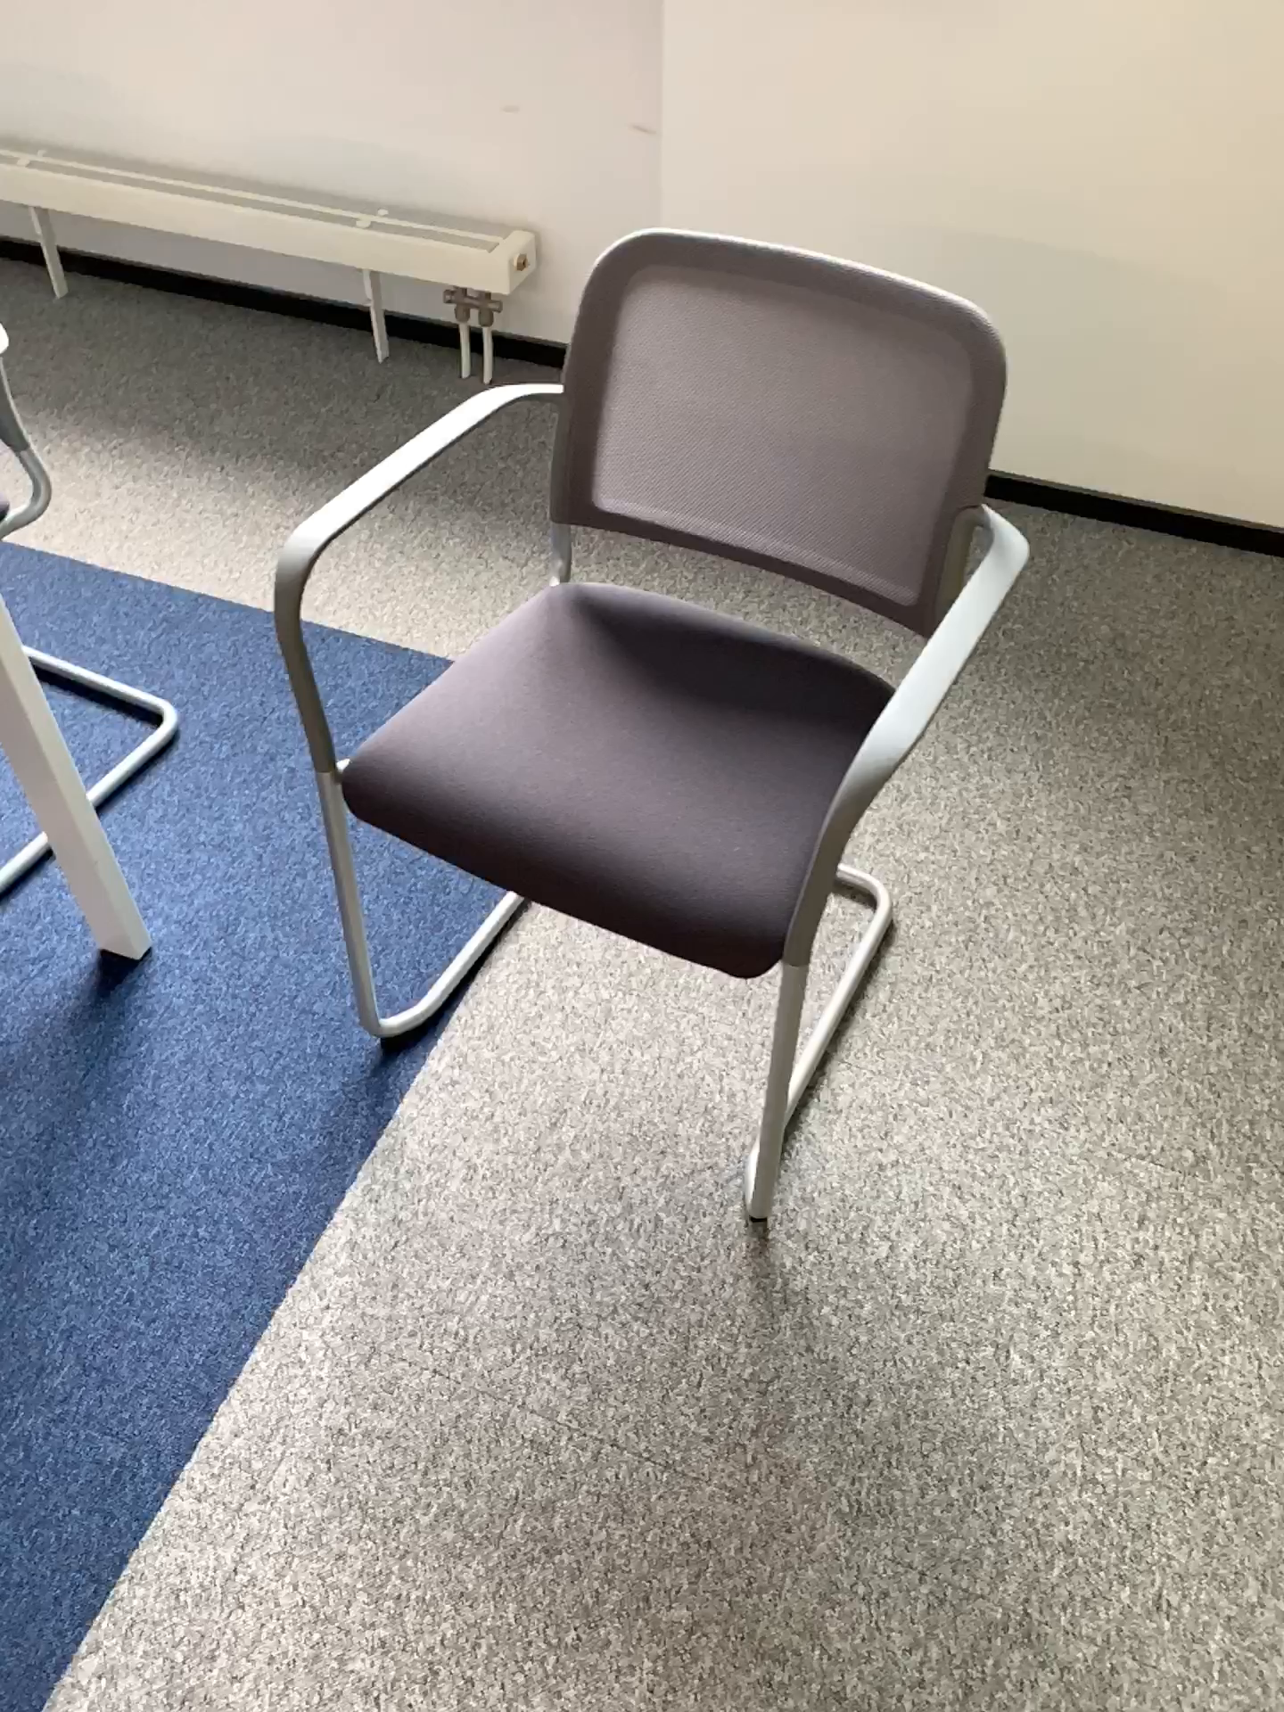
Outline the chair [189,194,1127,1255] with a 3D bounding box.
[{"bbox_3d":[0.034,-0.119,1.265,0.530,0.726,0.522,23,51,19],"label":"chair"}]
